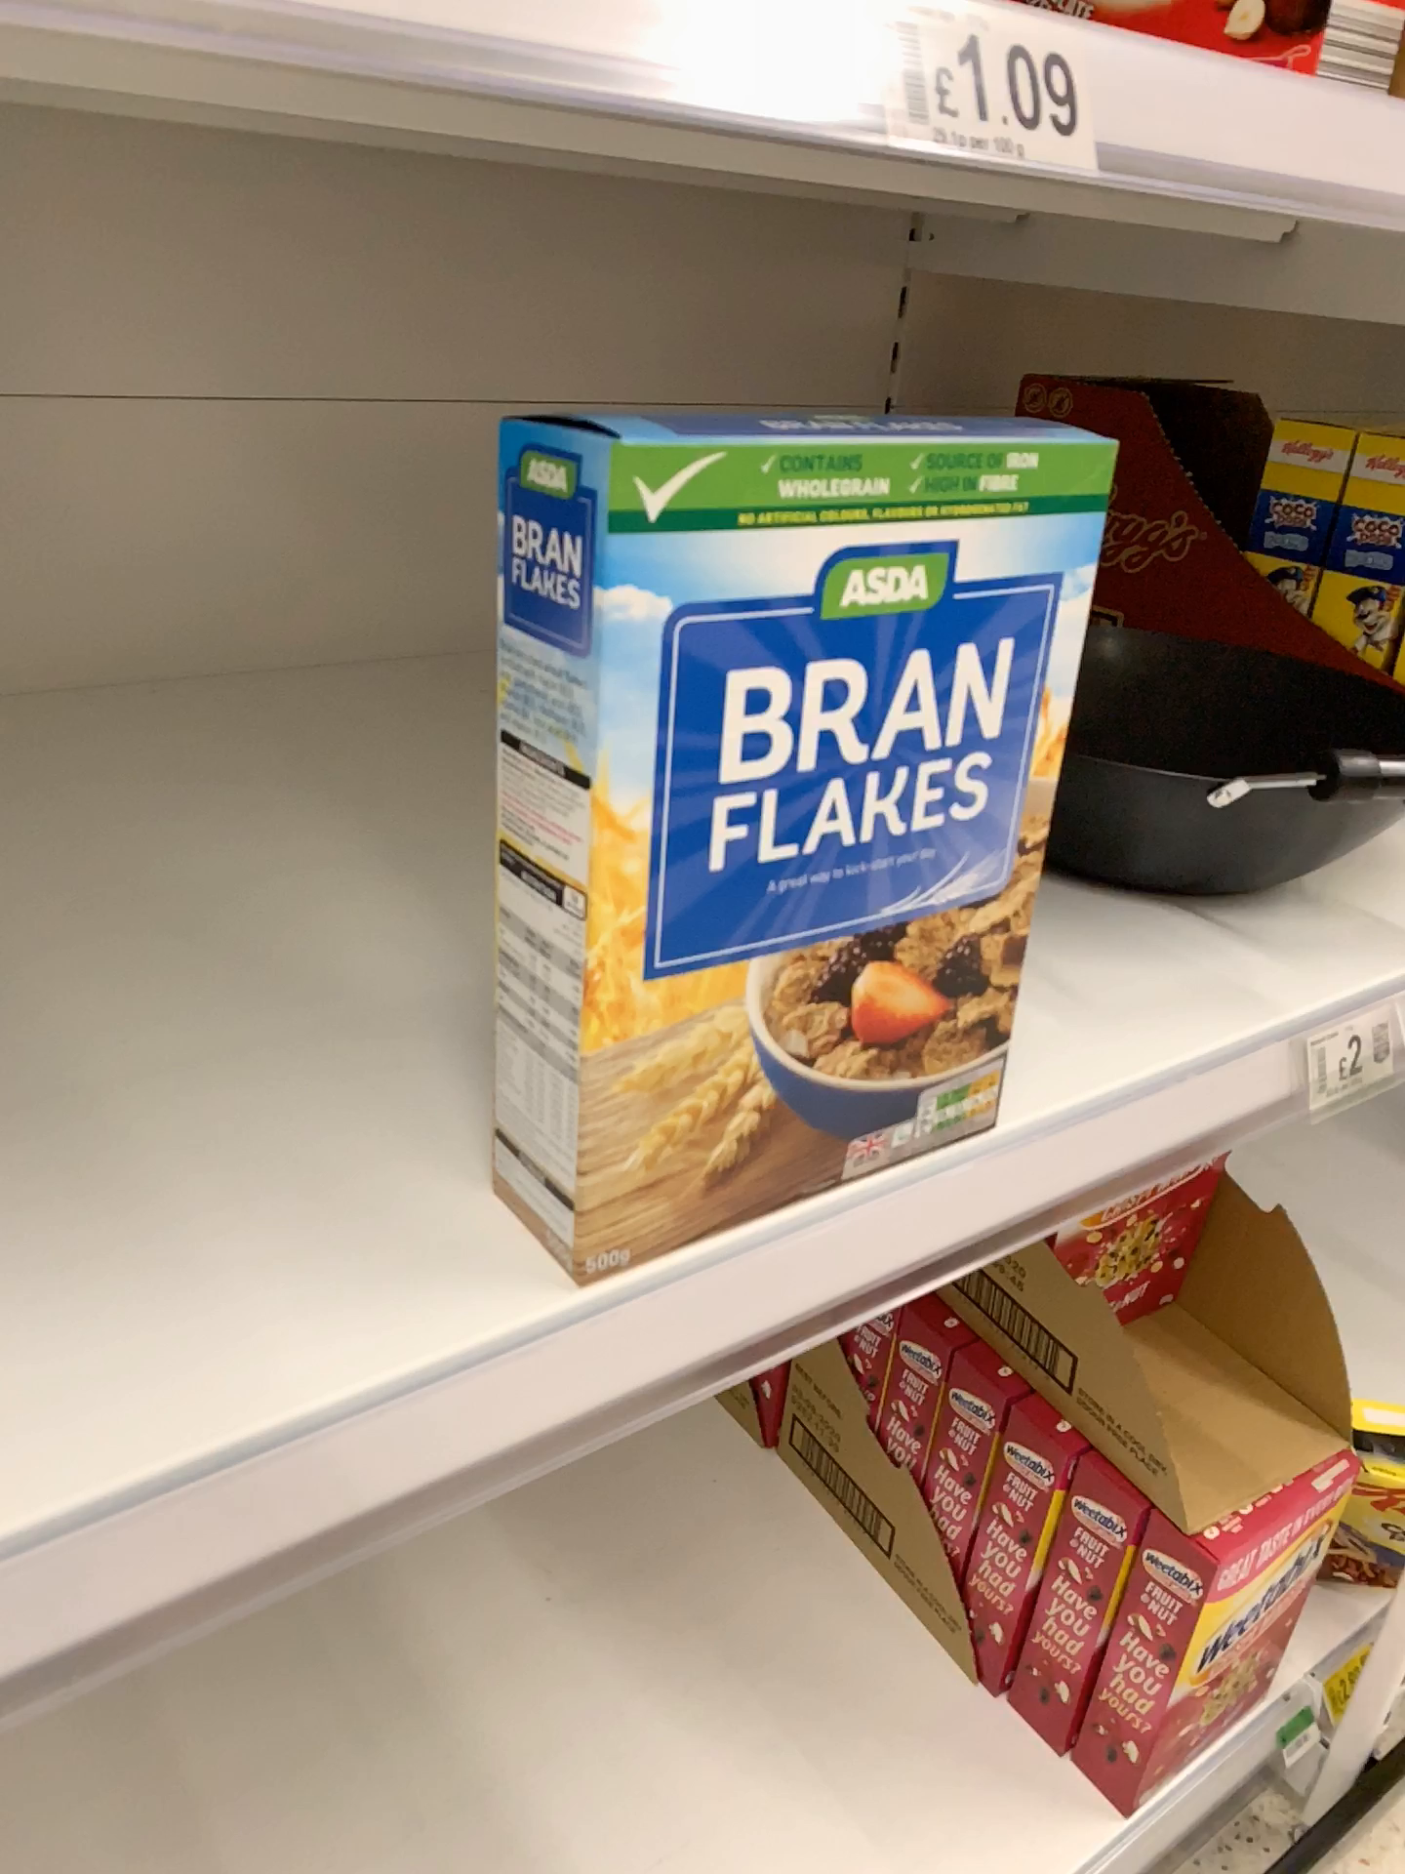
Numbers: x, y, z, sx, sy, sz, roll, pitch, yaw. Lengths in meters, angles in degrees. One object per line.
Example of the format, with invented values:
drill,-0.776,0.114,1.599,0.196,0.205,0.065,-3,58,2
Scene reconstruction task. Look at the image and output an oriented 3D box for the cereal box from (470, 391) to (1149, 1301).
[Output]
cereal box,0.034,-0.042,0.513,0.221,0.278,0.080,-13,28,-35
